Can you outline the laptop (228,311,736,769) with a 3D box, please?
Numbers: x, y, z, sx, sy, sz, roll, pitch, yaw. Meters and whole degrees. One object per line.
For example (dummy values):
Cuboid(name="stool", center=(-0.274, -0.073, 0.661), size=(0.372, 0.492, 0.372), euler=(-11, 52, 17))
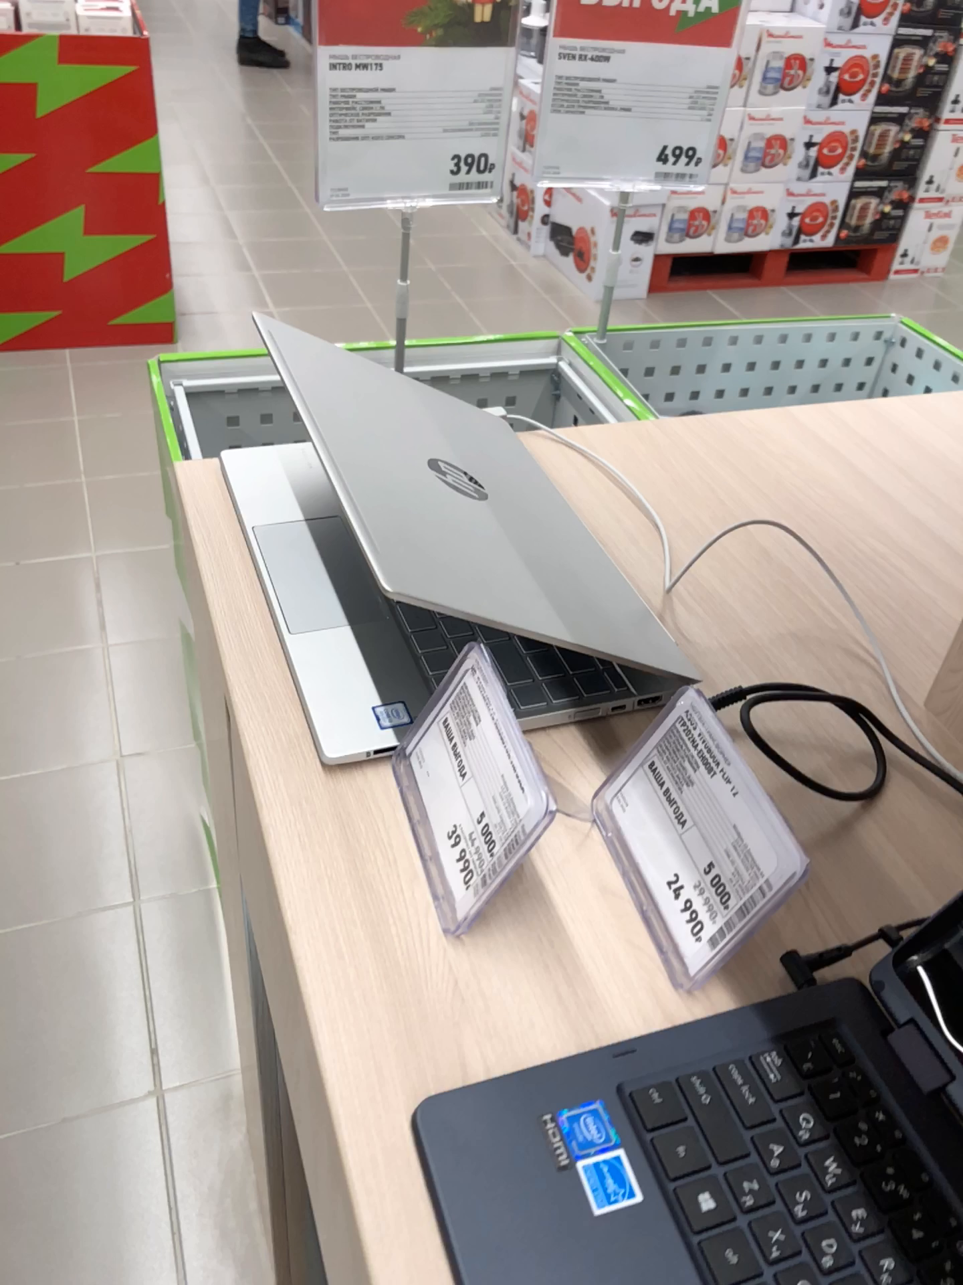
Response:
Cuboid(name="laptop", center=(-0.025, -0.089, 0.652), size=(0.206, 0.095, 0.323), euler=(-10, 41, -17))
